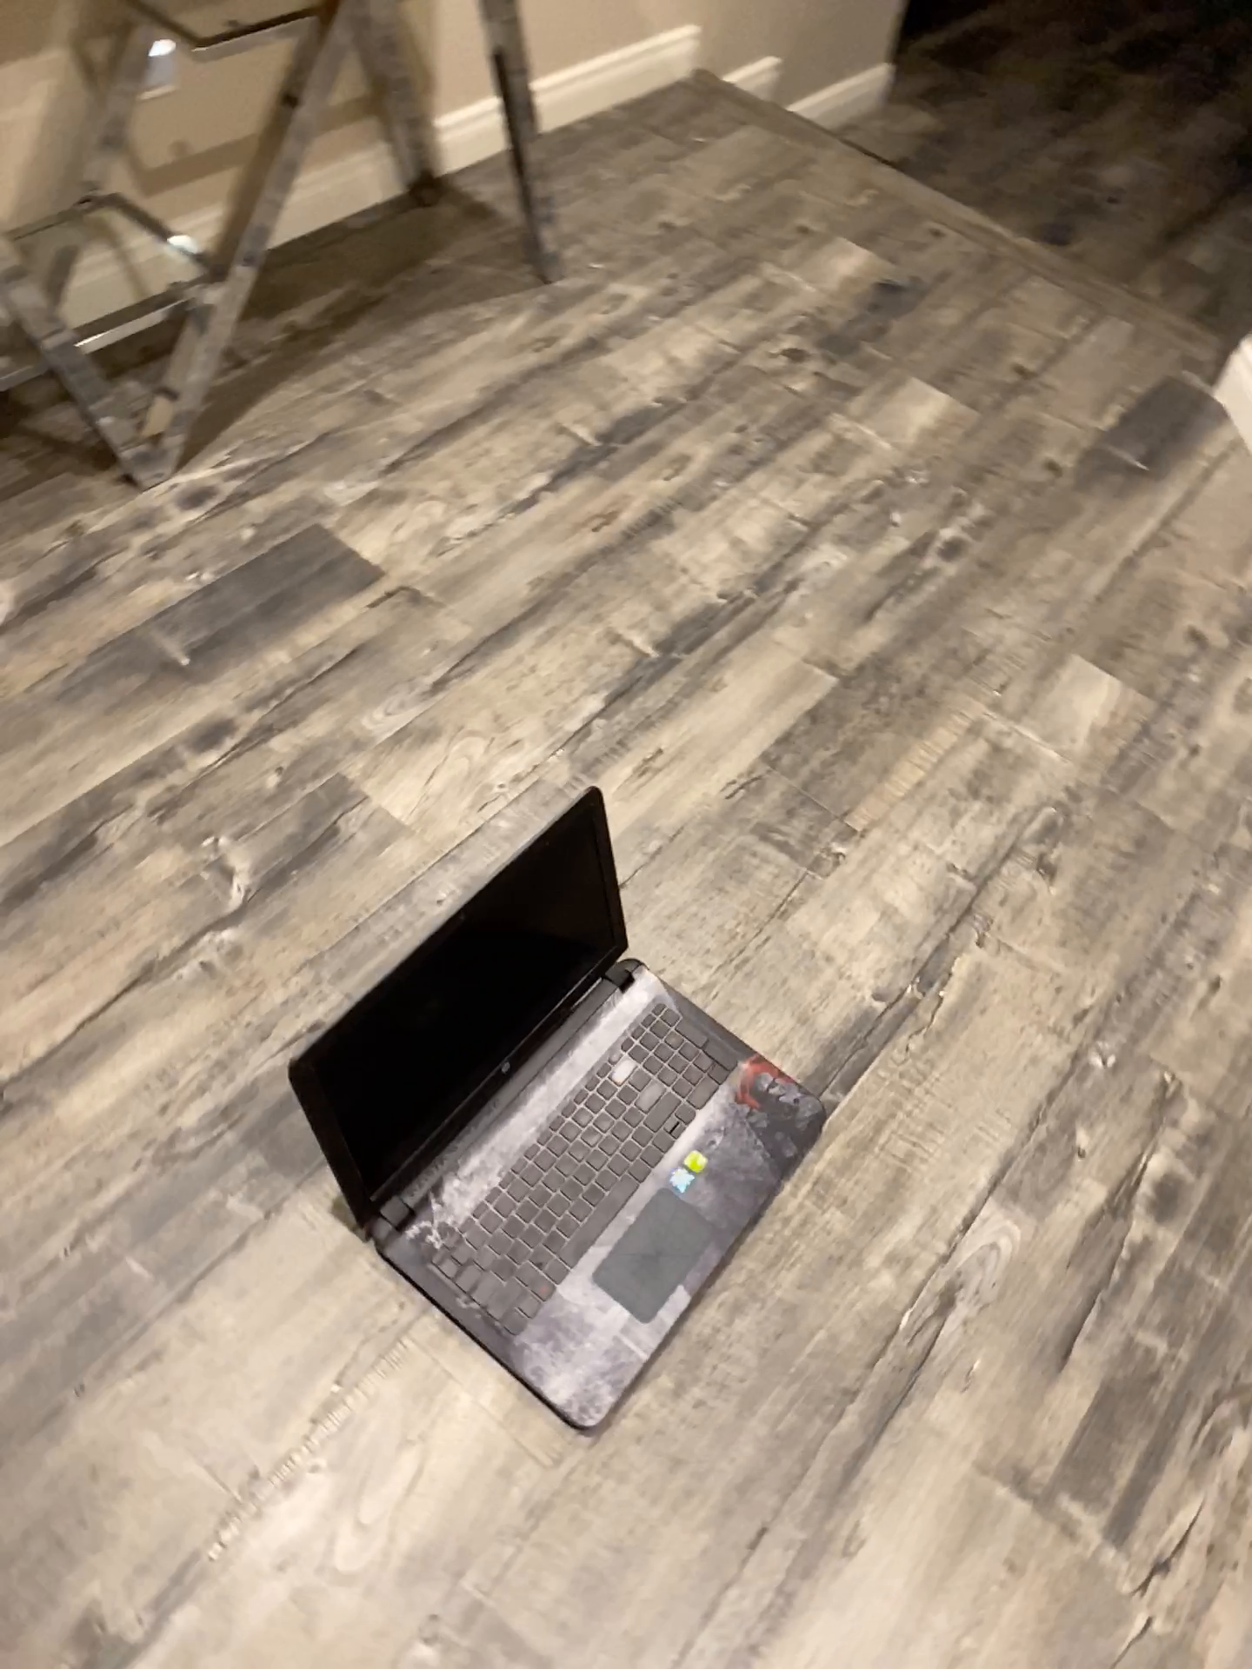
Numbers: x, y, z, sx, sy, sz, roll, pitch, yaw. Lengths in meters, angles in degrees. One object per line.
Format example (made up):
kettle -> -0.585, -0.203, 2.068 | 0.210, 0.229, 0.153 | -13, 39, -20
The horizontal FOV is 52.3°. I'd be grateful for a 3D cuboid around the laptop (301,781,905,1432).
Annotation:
laptop -> -0.020, 0.220, 1.100 | 0.327, 0.225, 0.372 | 36, 56, 16
